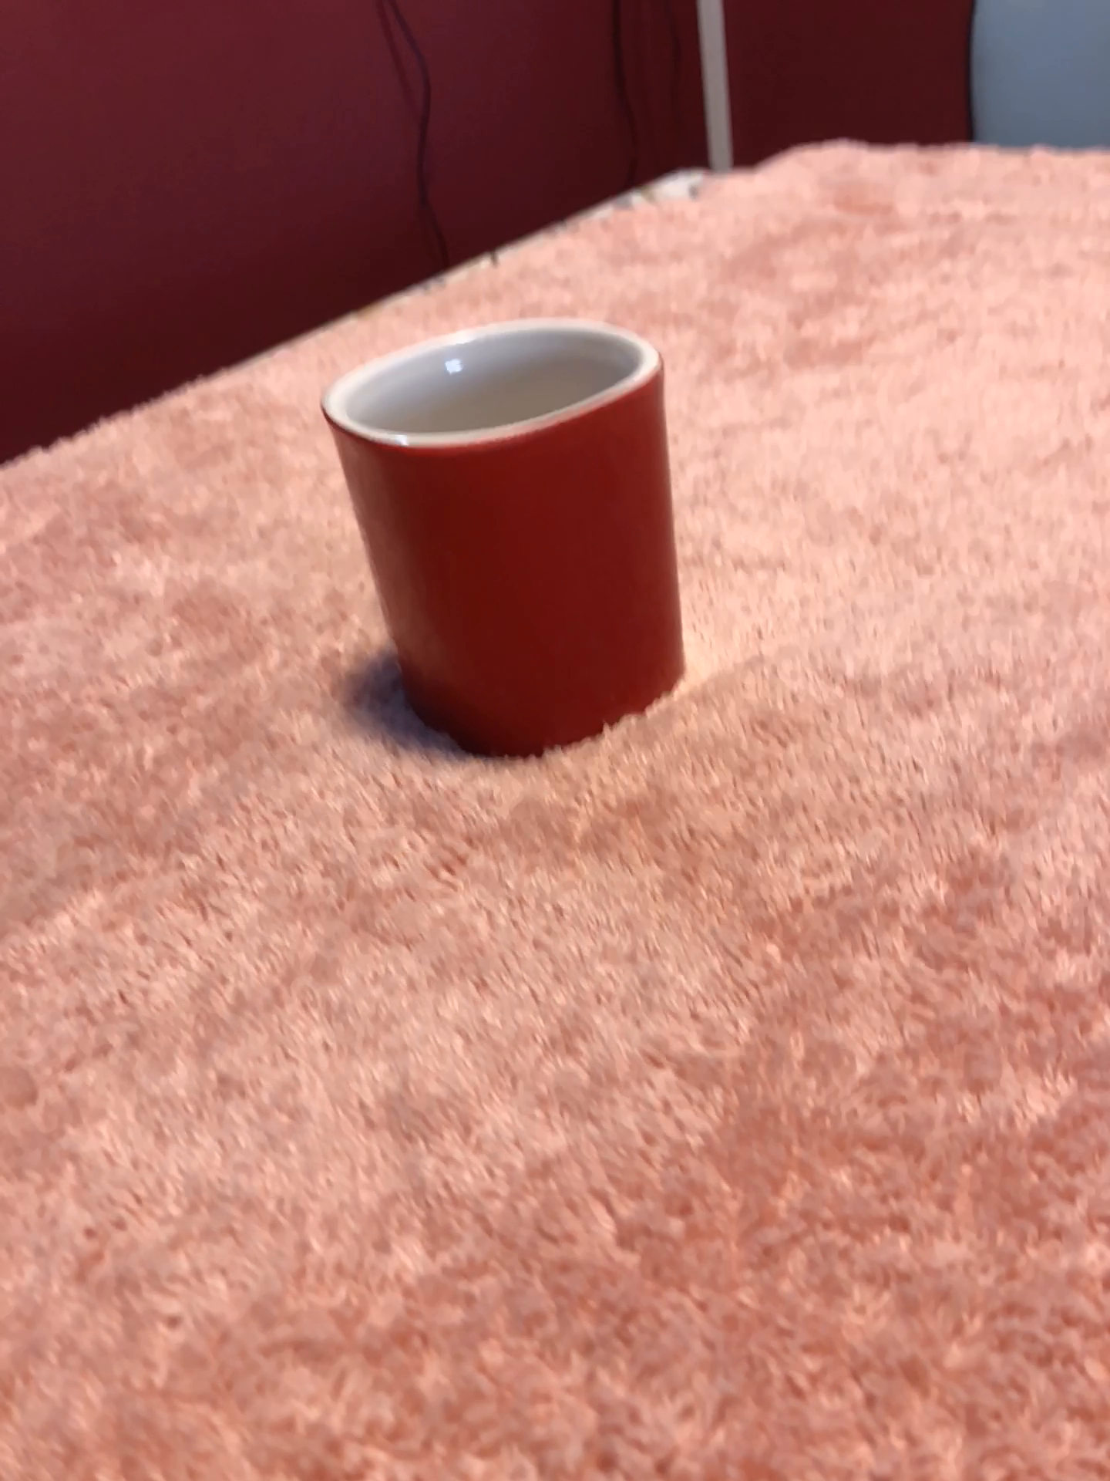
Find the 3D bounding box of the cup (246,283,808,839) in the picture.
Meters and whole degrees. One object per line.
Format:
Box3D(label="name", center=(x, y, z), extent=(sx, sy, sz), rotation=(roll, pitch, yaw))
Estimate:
Box3D(label="cup", center=(-0.008, -0.045, 0.263), extent=(0.070, 0.070, 0.101), rotation=(-24, 36, -20))
